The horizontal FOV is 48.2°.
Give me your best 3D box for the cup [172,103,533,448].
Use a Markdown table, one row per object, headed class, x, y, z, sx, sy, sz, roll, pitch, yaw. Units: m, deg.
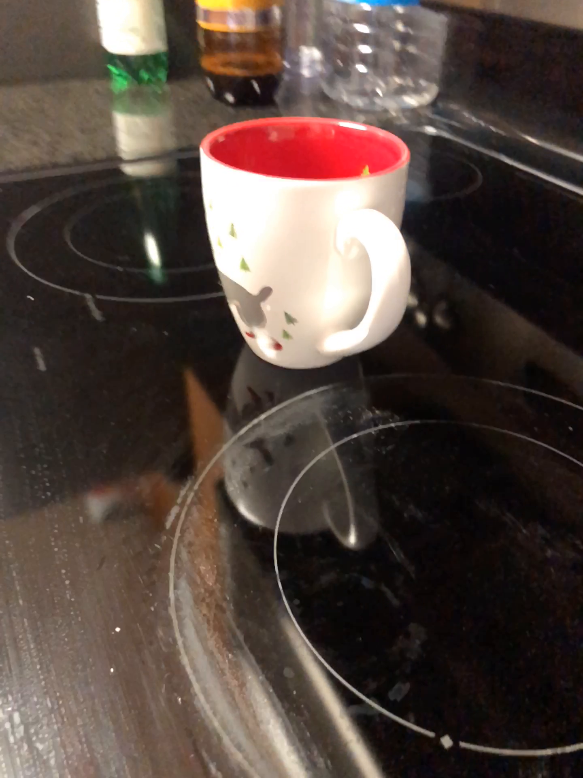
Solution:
| class | x | y | z | sx | sy | sz | roll | pitch | yaw |
| --- | --- | --- | --- | --- | --- | --- | --- | --- | --- |
| cup | 0.018 | -0.066 | 0.317 | 0.100 | 0.099 | 0.141 | -17 | 40 | -23 |
